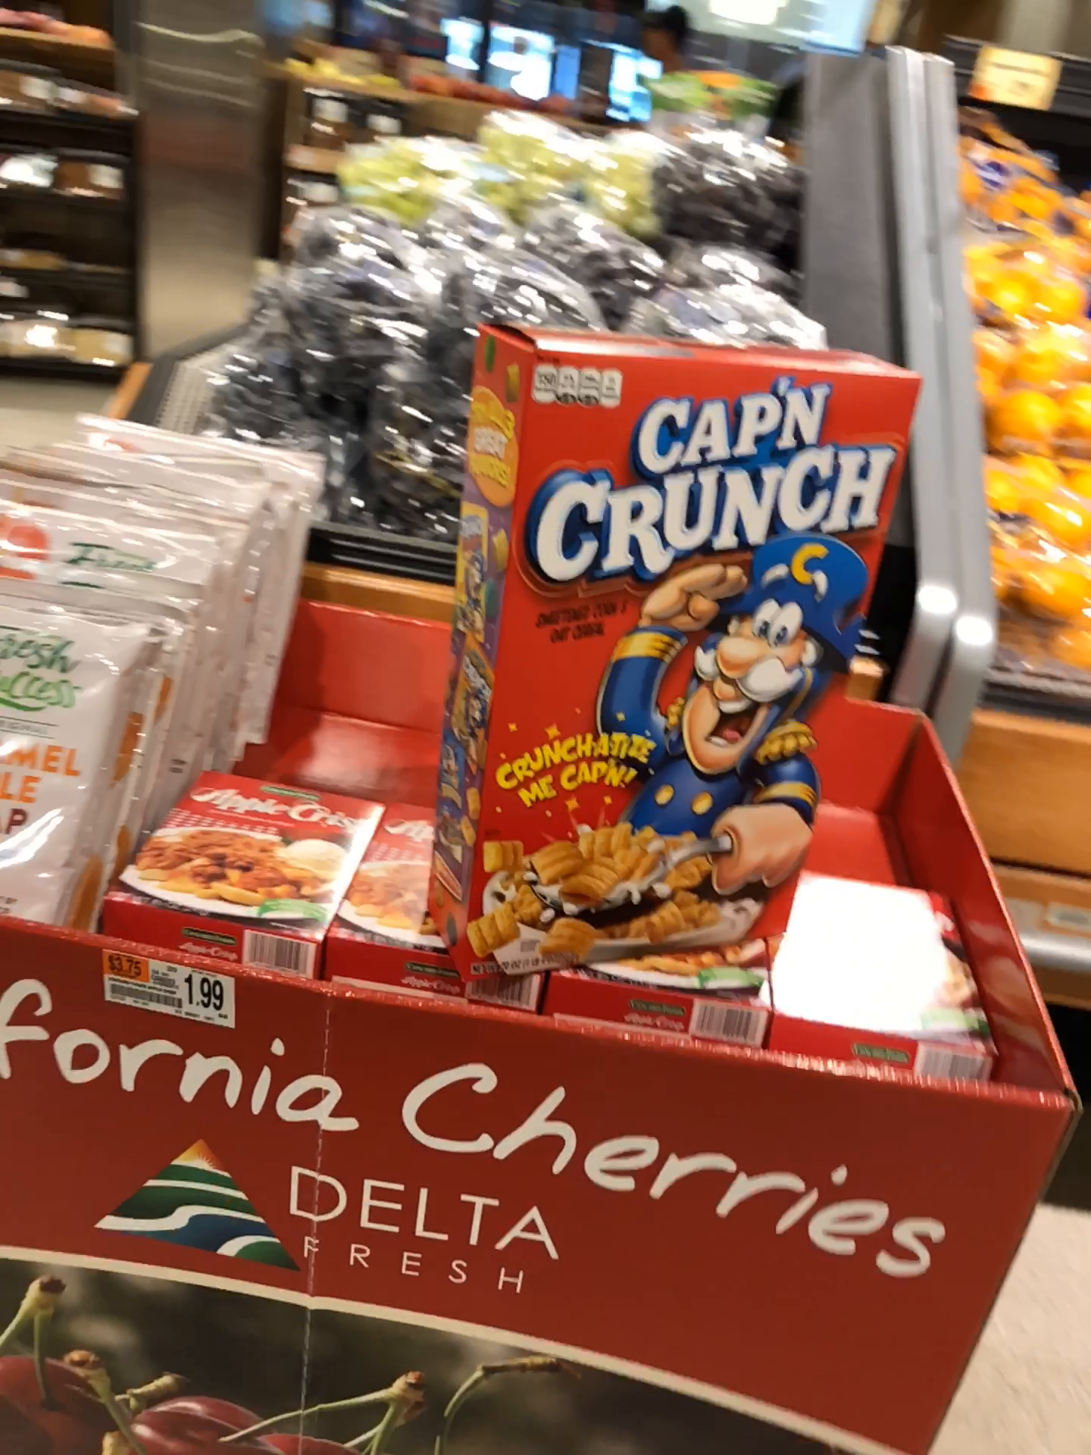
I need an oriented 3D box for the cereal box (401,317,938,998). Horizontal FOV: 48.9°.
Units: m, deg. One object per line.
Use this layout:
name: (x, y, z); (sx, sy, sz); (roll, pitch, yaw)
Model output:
cereal box: (0.052, -0.029, 0.625); (0.220, 0.328, 0.070); (-3, 27, -23)
